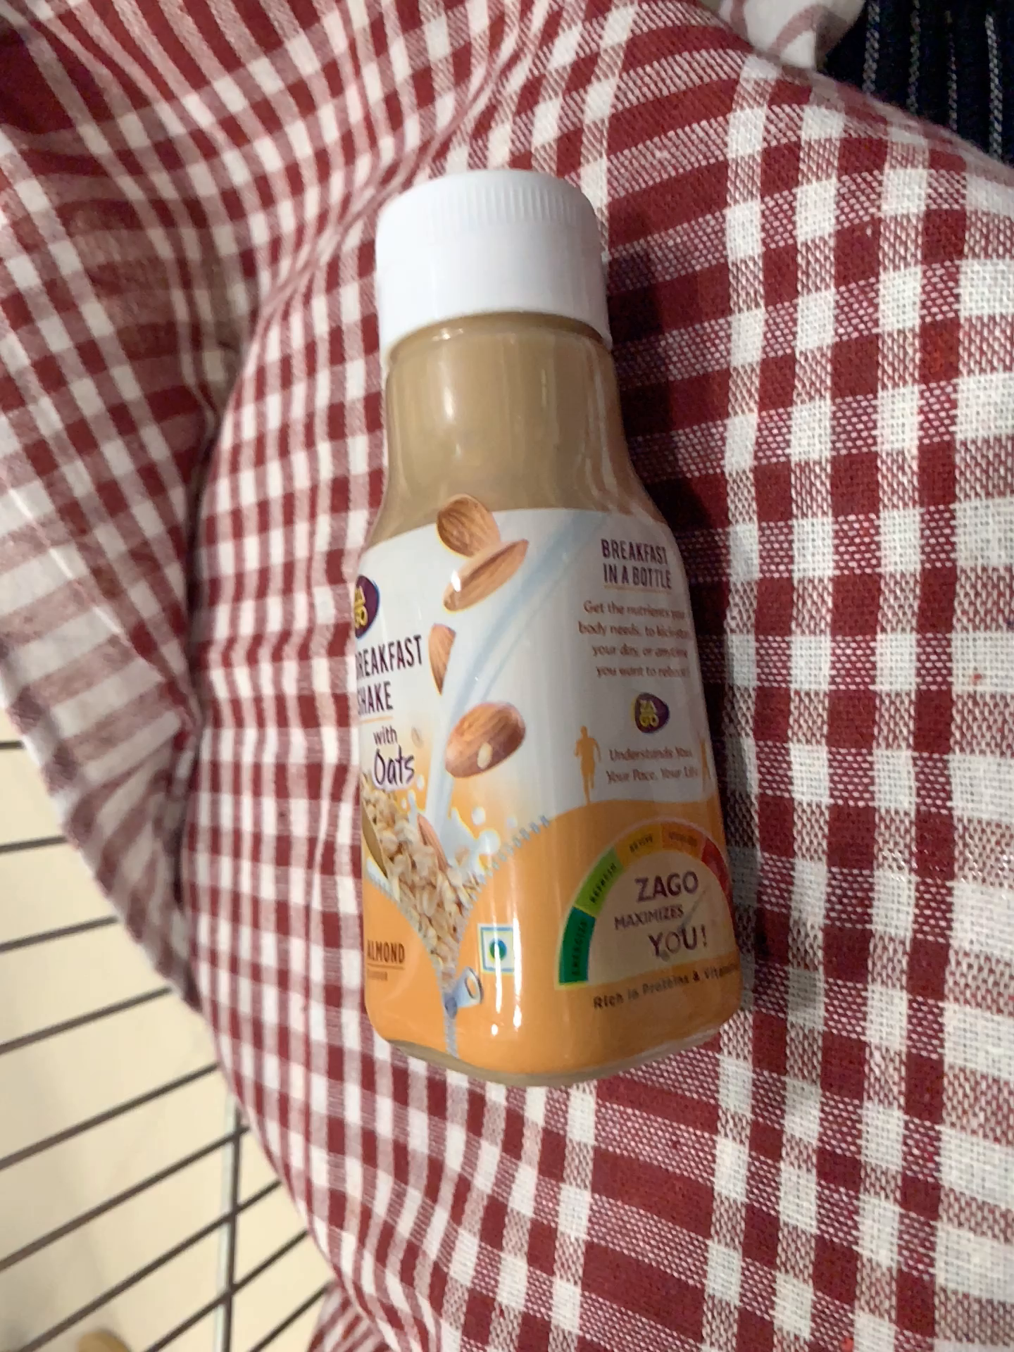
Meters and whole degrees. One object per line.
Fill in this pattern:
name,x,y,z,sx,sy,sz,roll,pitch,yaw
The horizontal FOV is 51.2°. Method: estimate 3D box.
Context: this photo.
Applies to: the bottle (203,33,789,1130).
bottle,-0.003,-0.011,0.173,0.060,0.050,0.140,-8,89,43
